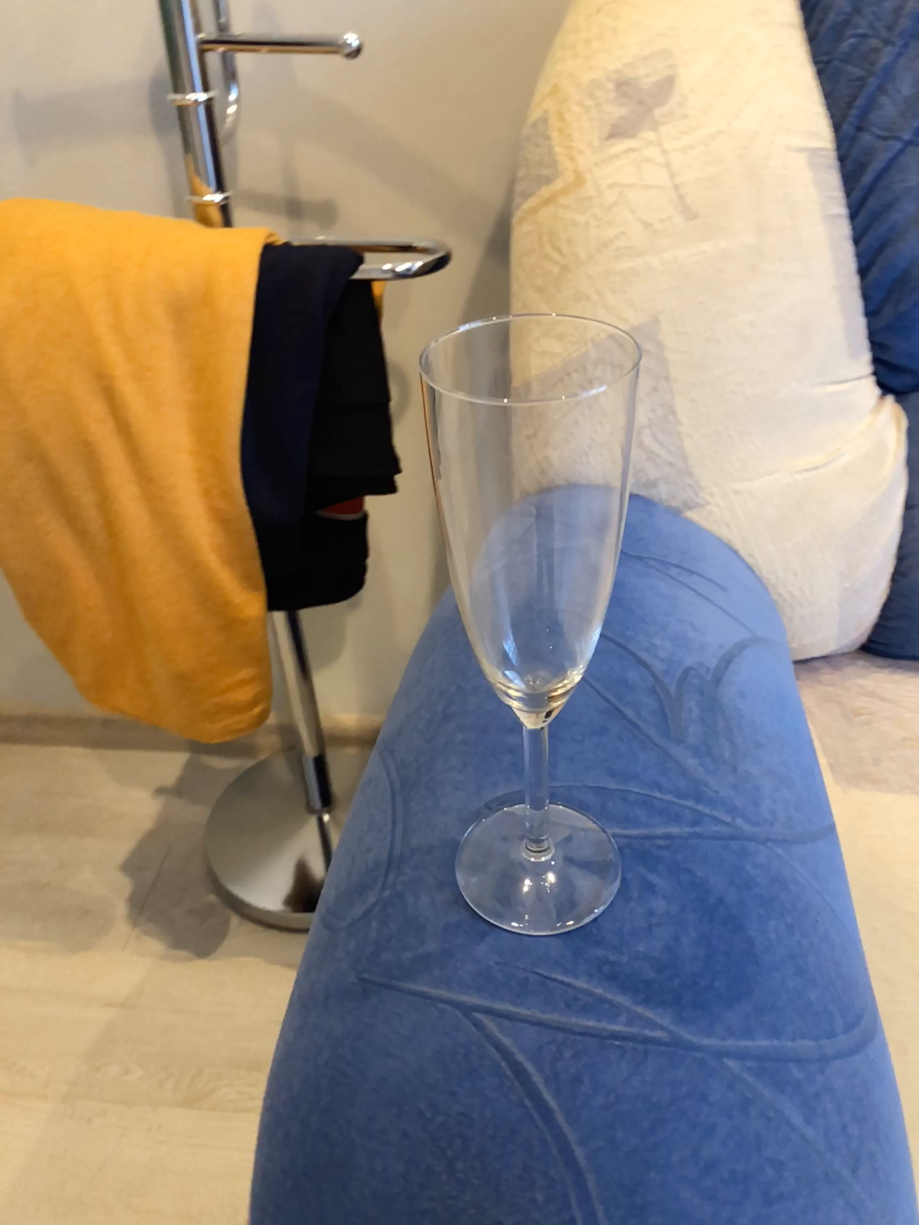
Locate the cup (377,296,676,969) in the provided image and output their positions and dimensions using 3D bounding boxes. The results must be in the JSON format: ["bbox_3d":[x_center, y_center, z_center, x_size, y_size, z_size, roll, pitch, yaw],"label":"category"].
[{"bbox_3d":[0.028,0.013,0.339,0.072,0.214,0.077,-2,33,2],"label":"cup"}]
